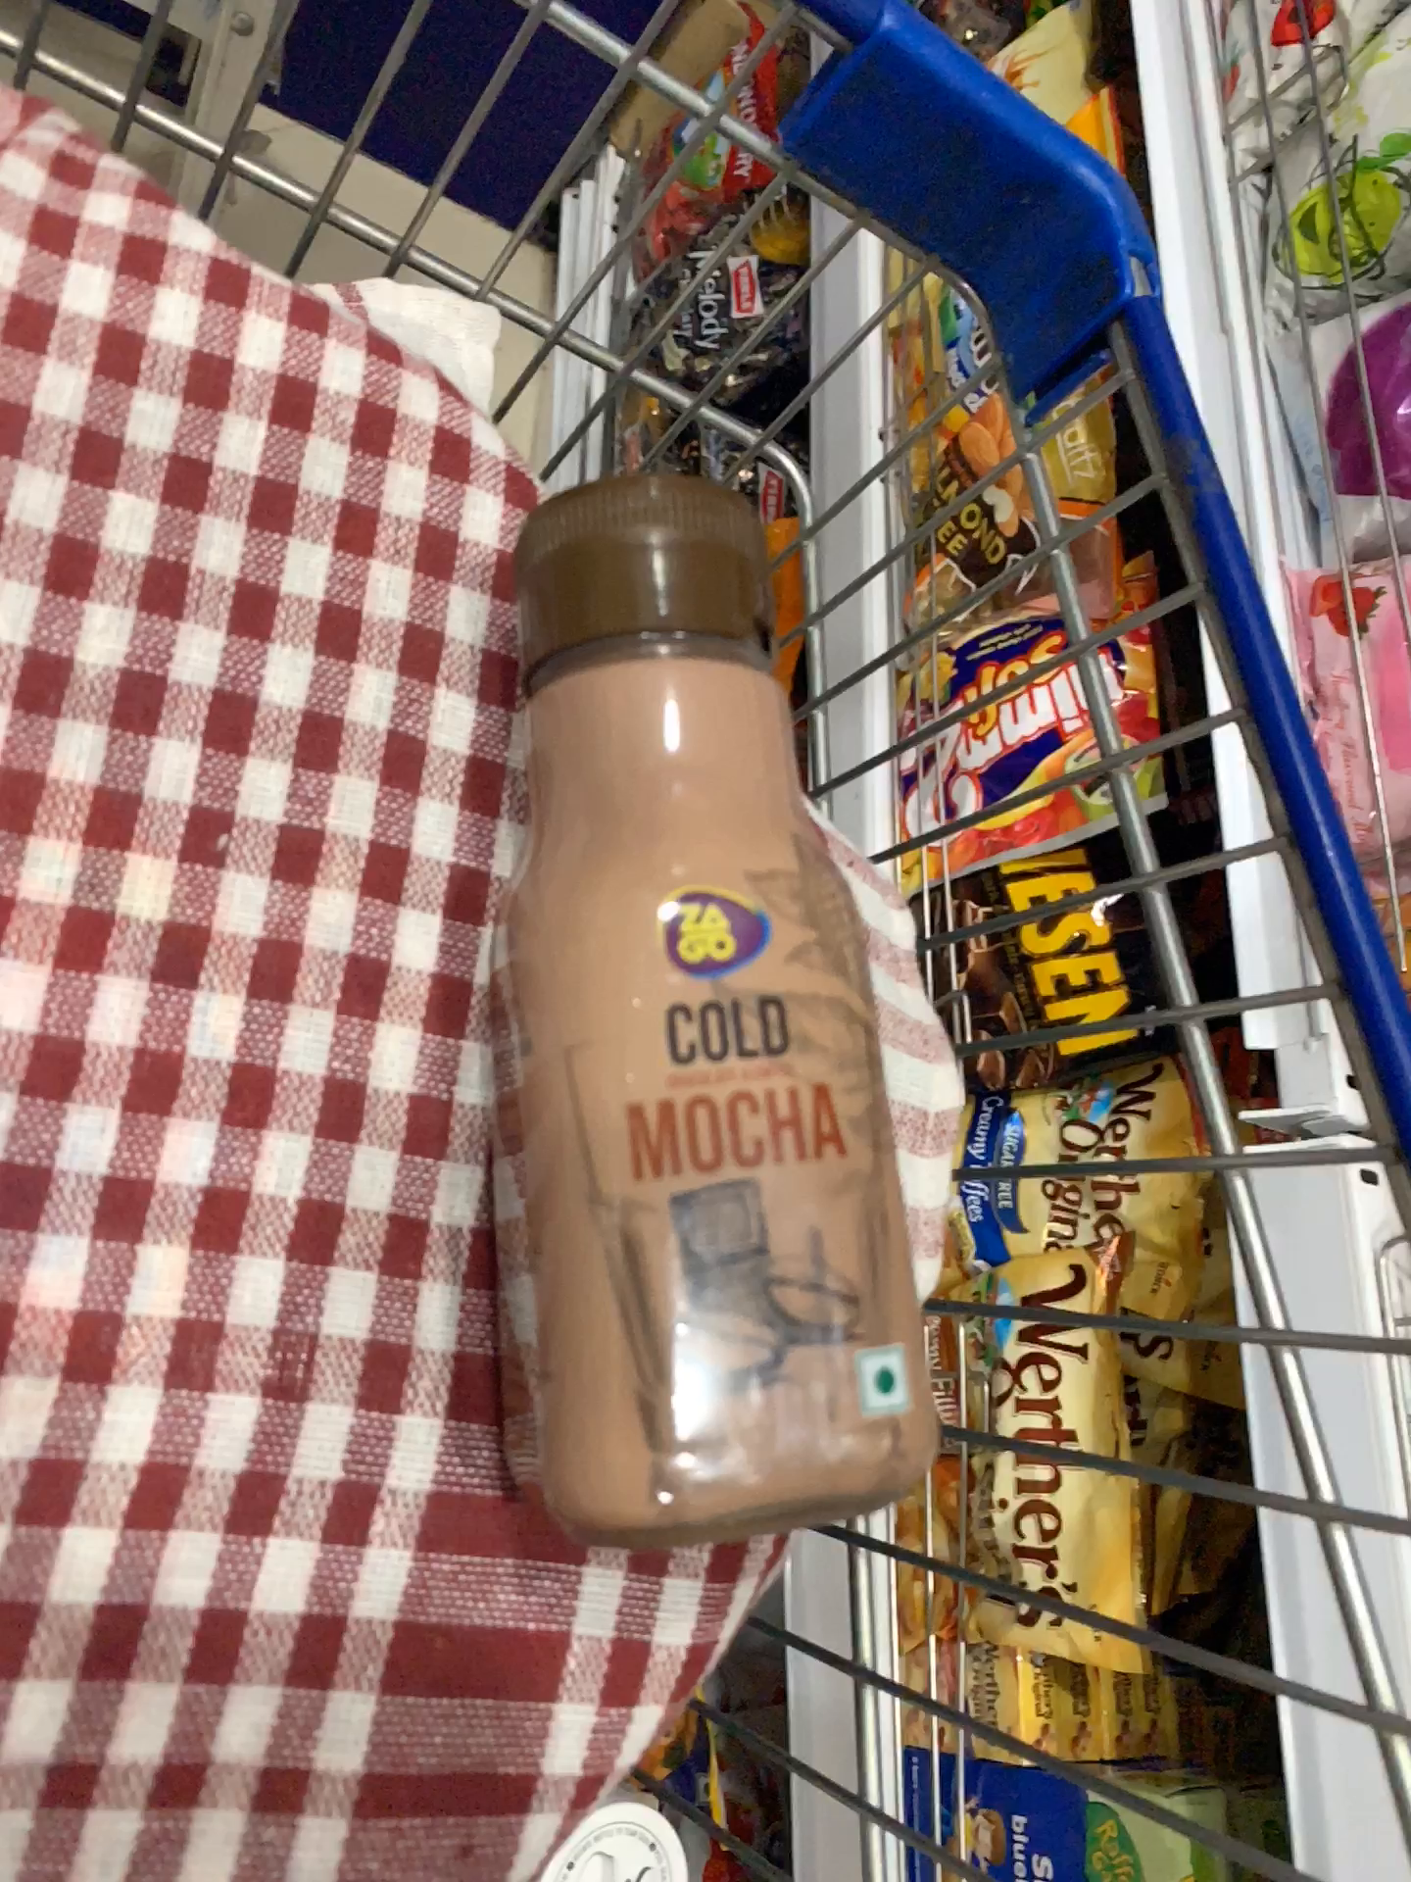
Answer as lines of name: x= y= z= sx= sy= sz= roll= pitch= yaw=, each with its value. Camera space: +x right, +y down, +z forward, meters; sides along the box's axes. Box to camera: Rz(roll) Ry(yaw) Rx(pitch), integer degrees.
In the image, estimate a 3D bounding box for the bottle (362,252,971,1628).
bottle: x=-0.014 y=-0.001 z=0.218 sx=0.060 sy=0.070 sz=0.170 roll=-2 pitch=80 yaw=-19
